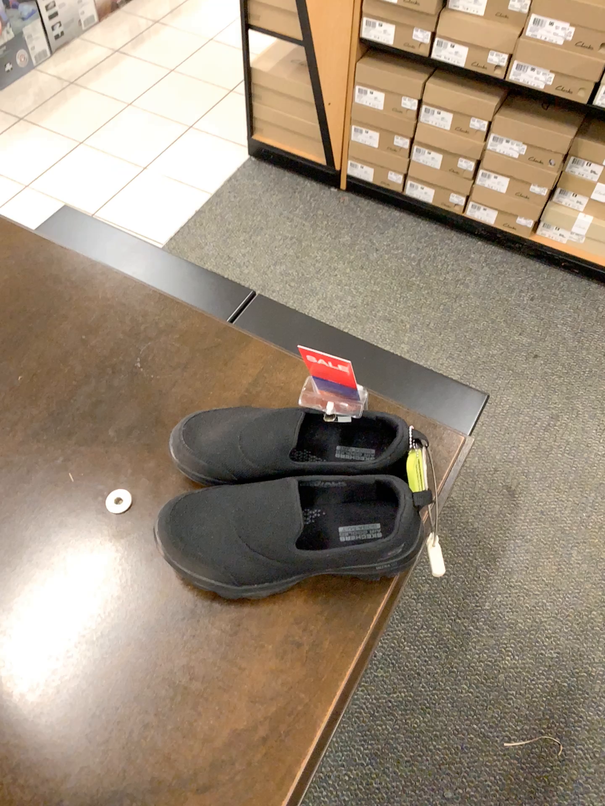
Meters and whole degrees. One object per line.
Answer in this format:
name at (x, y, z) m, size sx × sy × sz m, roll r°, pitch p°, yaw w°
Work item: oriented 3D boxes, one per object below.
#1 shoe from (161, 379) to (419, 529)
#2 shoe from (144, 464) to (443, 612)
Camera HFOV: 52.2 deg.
shoe at (-0.009, 0.054, 0.621) m, size 0.230 × 0.110 × 0.094 m, roll 4°, pitch 57°, yaw 1°
shoe at (-0.009, 0.127, 0.575) m, size 0.244 × 0.110 × 0.094 m, roll -1°, pitch 57°, yaw -2°
